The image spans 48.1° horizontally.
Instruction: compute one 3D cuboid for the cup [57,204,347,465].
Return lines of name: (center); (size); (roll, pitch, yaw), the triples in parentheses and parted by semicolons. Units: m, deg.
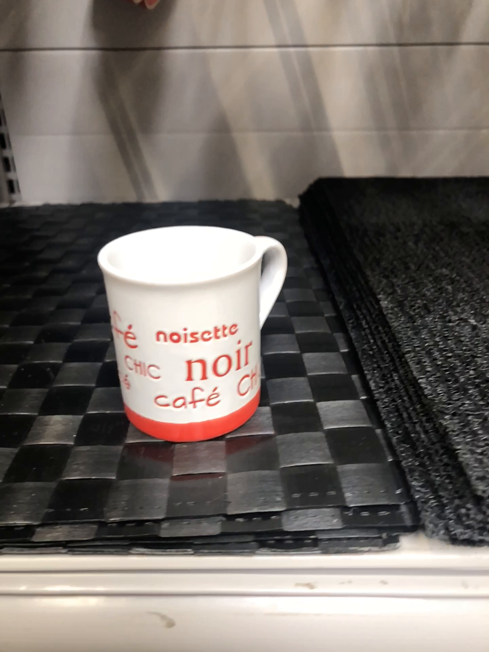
cup: (-0.013, -0.006, 0.234); (0.067, 0.064, 0.097); (21, 33, 36)
